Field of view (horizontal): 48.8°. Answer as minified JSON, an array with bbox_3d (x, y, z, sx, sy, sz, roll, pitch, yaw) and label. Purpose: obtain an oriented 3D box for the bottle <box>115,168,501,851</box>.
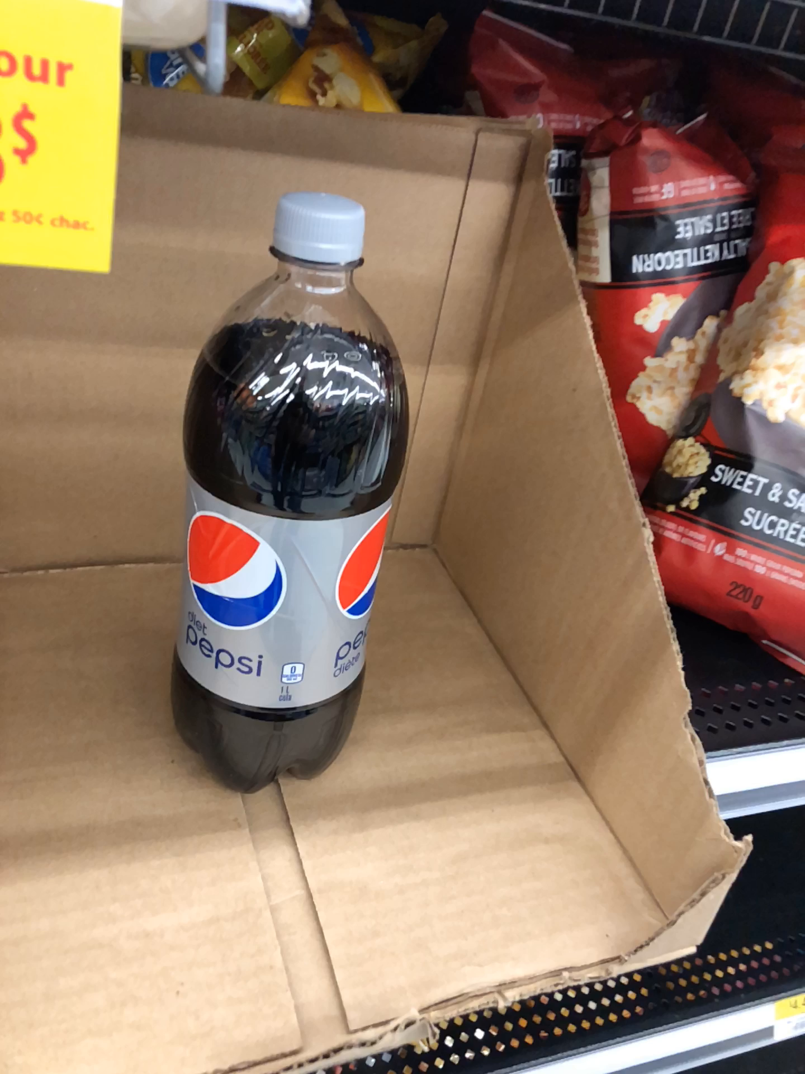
[{"bbox_3d":[-0.044,-0.005,0.335,0.080,0.228,0.091,27,37,21],"label":"bottle"}]
